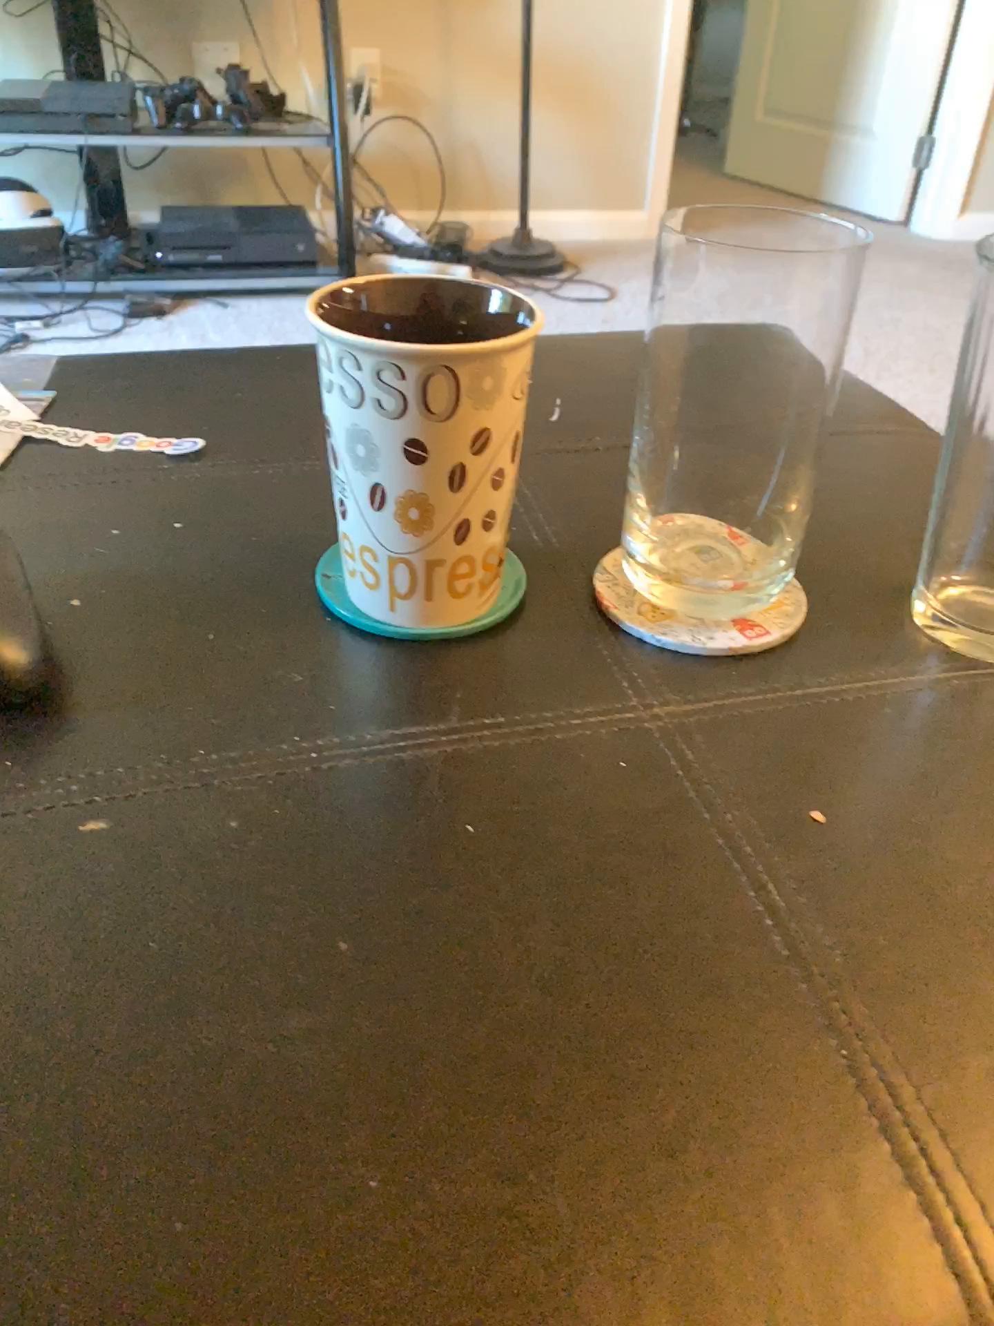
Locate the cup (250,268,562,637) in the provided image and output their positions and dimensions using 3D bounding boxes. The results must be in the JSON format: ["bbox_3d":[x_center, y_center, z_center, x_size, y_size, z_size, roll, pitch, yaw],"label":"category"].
[{"bbox_3d":[-0.029,-0.081,0.383,0.090,0.099,0.091,2,35,-1],"label":"cup"}]

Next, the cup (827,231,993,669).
[{"bbox_3d":[0.192,-0.078,0.385,0.080,0.139,0.081,2,35,-1],"label":"cup"}]

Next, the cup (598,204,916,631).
[{"bbox_3d":[0.085,-0.090,0.380,0.080,0.129,0.081,2,35,-1],"label":"cup"}]
